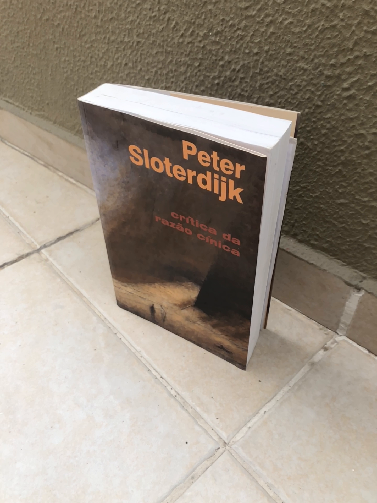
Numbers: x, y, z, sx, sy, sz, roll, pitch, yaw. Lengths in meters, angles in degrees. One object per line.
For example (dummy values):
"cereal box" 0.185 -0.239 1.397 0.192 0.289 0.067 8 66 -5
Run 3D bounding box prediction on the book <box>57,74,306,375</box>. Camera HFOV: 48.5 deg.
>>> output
"book" -0.007 -0.016 0.358 0.165 0.220 0.058 22 47 25
